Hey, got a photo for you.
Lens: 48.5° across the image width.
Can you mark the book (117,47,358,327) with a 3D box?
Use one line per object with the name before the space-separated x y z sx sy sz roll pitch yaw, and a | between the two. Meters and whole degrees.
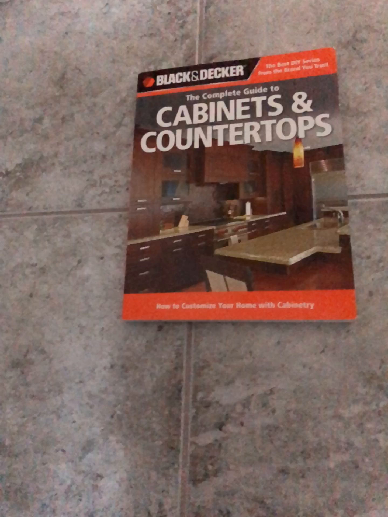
book | 0.039 -0.074 0.433 0.216 0.022 0.281 -2 74 13
